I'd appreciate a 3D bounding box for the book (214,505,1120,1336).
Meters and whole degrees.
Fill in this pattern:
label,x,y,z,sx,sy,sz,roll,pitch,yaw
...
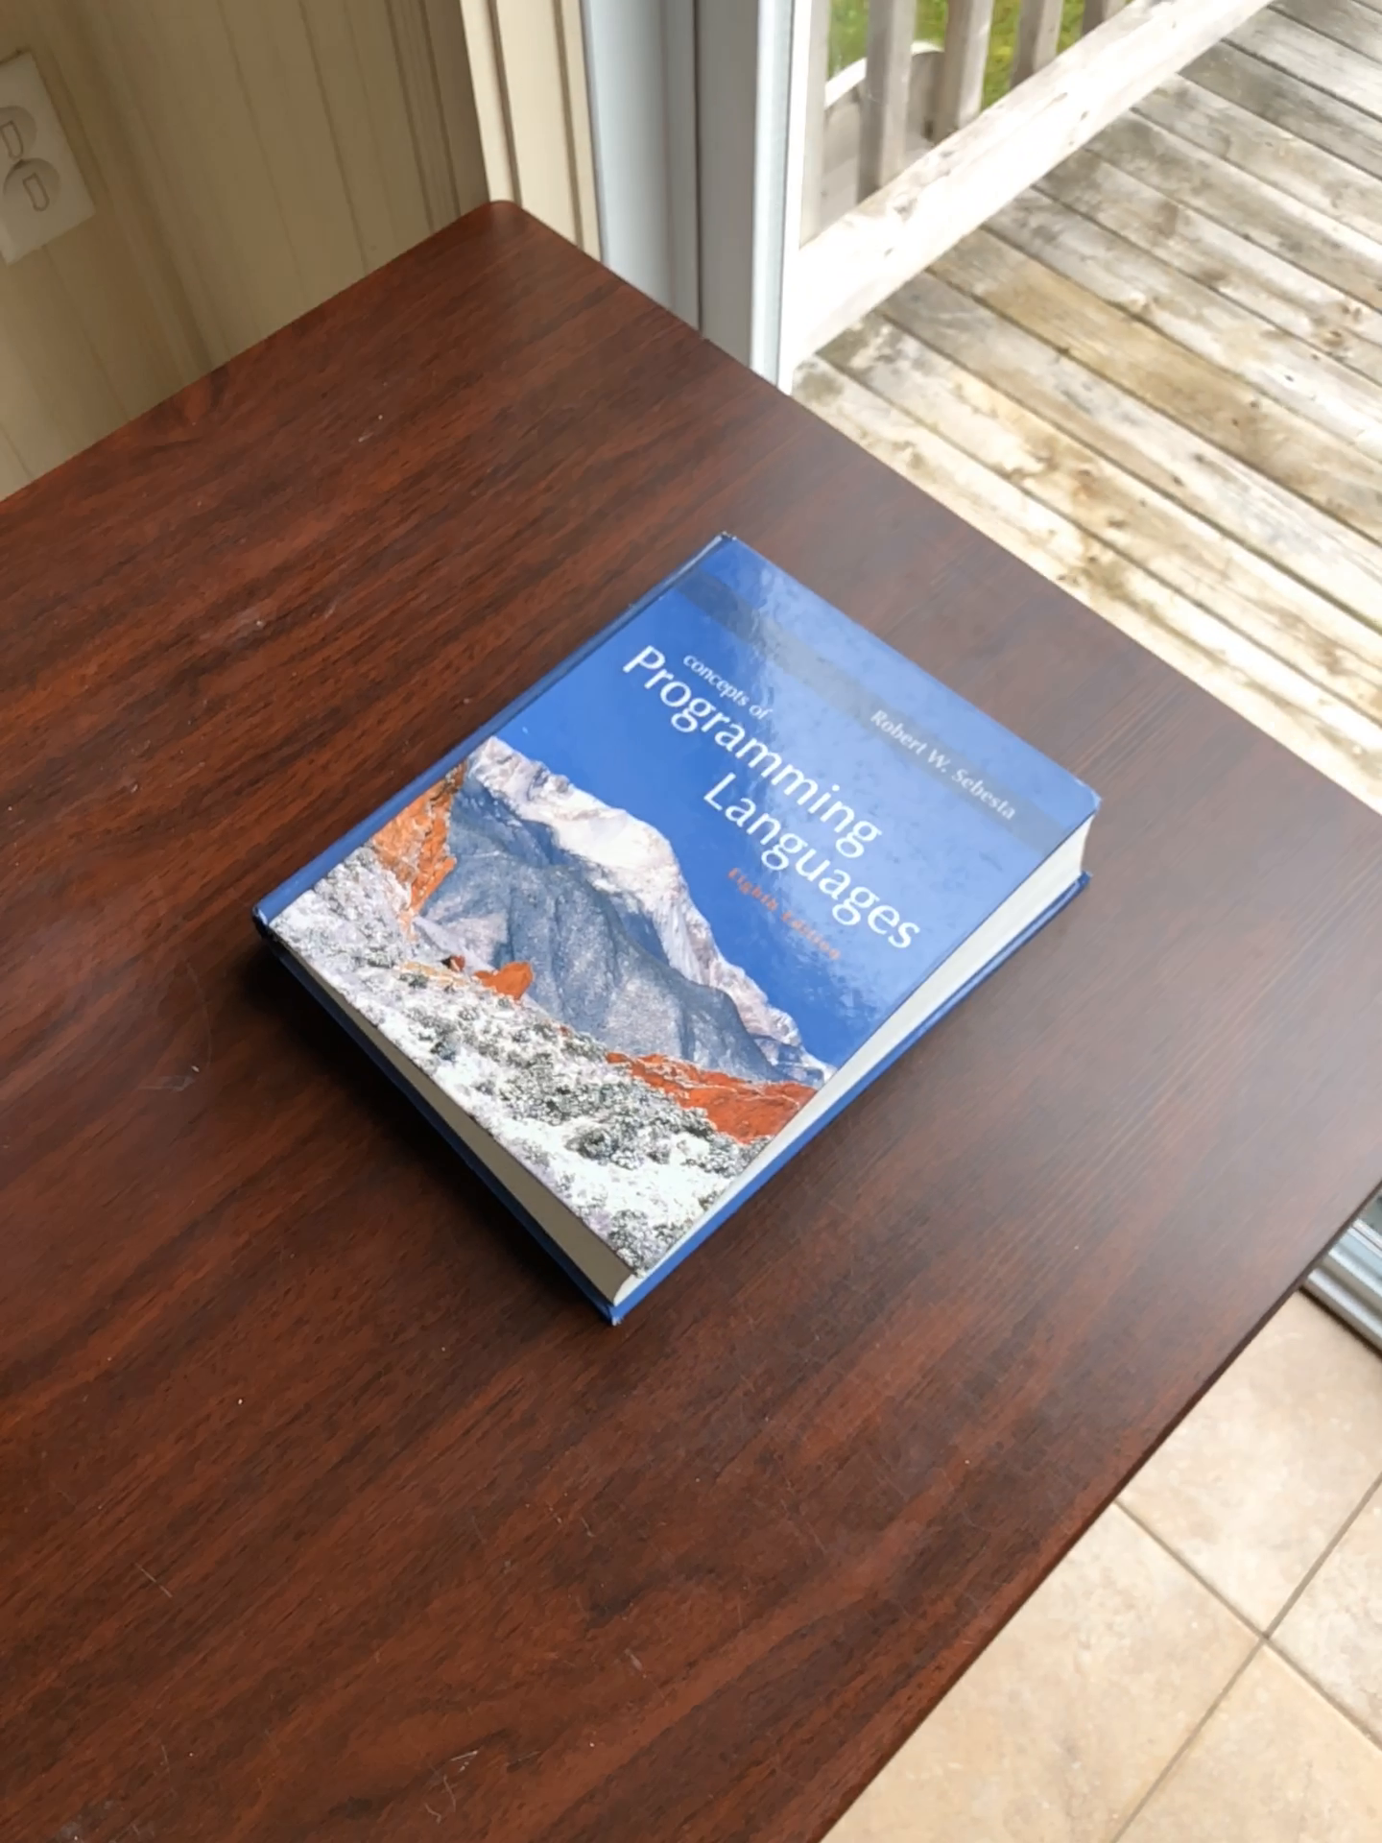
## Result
label,x,y,z,sx,sy,sz,roll,pitch,yaw
book,-0.007,-0.014,0.537,0.236,0.048,0.195,-41,68,-18
